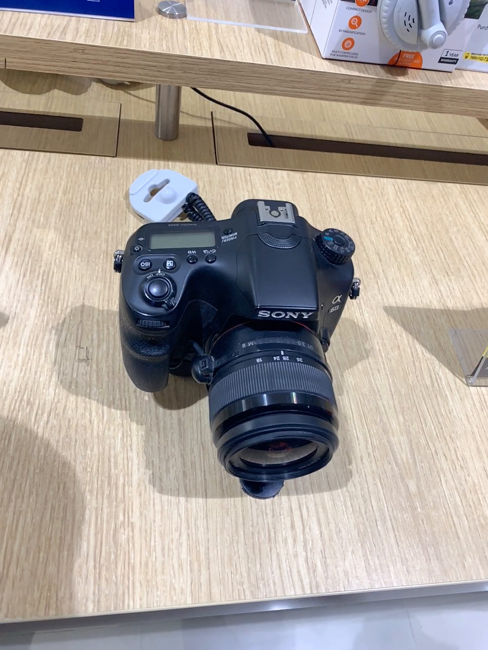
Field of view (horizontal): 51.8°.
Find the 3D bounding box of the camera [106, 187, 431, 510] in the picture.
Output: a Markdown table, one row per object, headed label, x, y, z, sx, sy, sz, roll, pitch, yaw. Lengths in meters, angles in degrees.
| label | x | y | z | sx | sy | sz | roll | pitch | yaw |
| --- | --- | --- | --- | --- | --- | --- | --- | --- | --- |
| camera | -0.003 | 0.012 | 0.273 | 0.130 | 0.100 | 0.135 | -1 | 53 | -12 |
